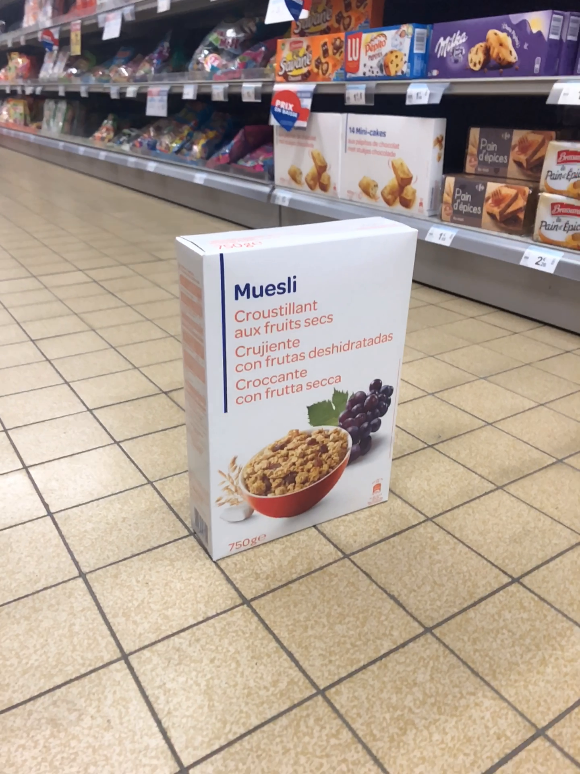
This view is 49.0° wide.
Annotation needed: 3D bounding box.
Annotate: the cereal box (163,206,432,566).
[{"bbox_3d":[0.006,-0.005,0.538,0.201,0.268,0.060,-12,28,-27],"label":"cereal box"}]
